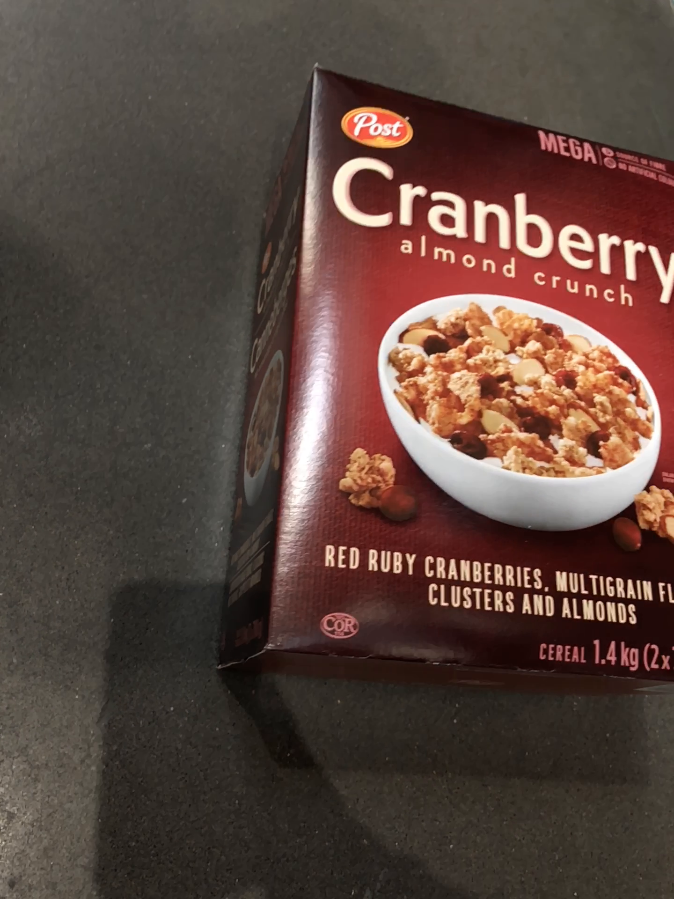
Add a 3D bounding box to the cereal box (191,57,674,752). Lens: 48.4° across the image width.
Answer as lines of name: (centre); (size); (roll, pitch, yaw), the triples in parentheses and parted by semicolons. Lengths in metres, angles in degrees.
cereal box: (0.081, -0.012, 0.417); (0.260, 0.130, 0.310); (11, 68, -14)
